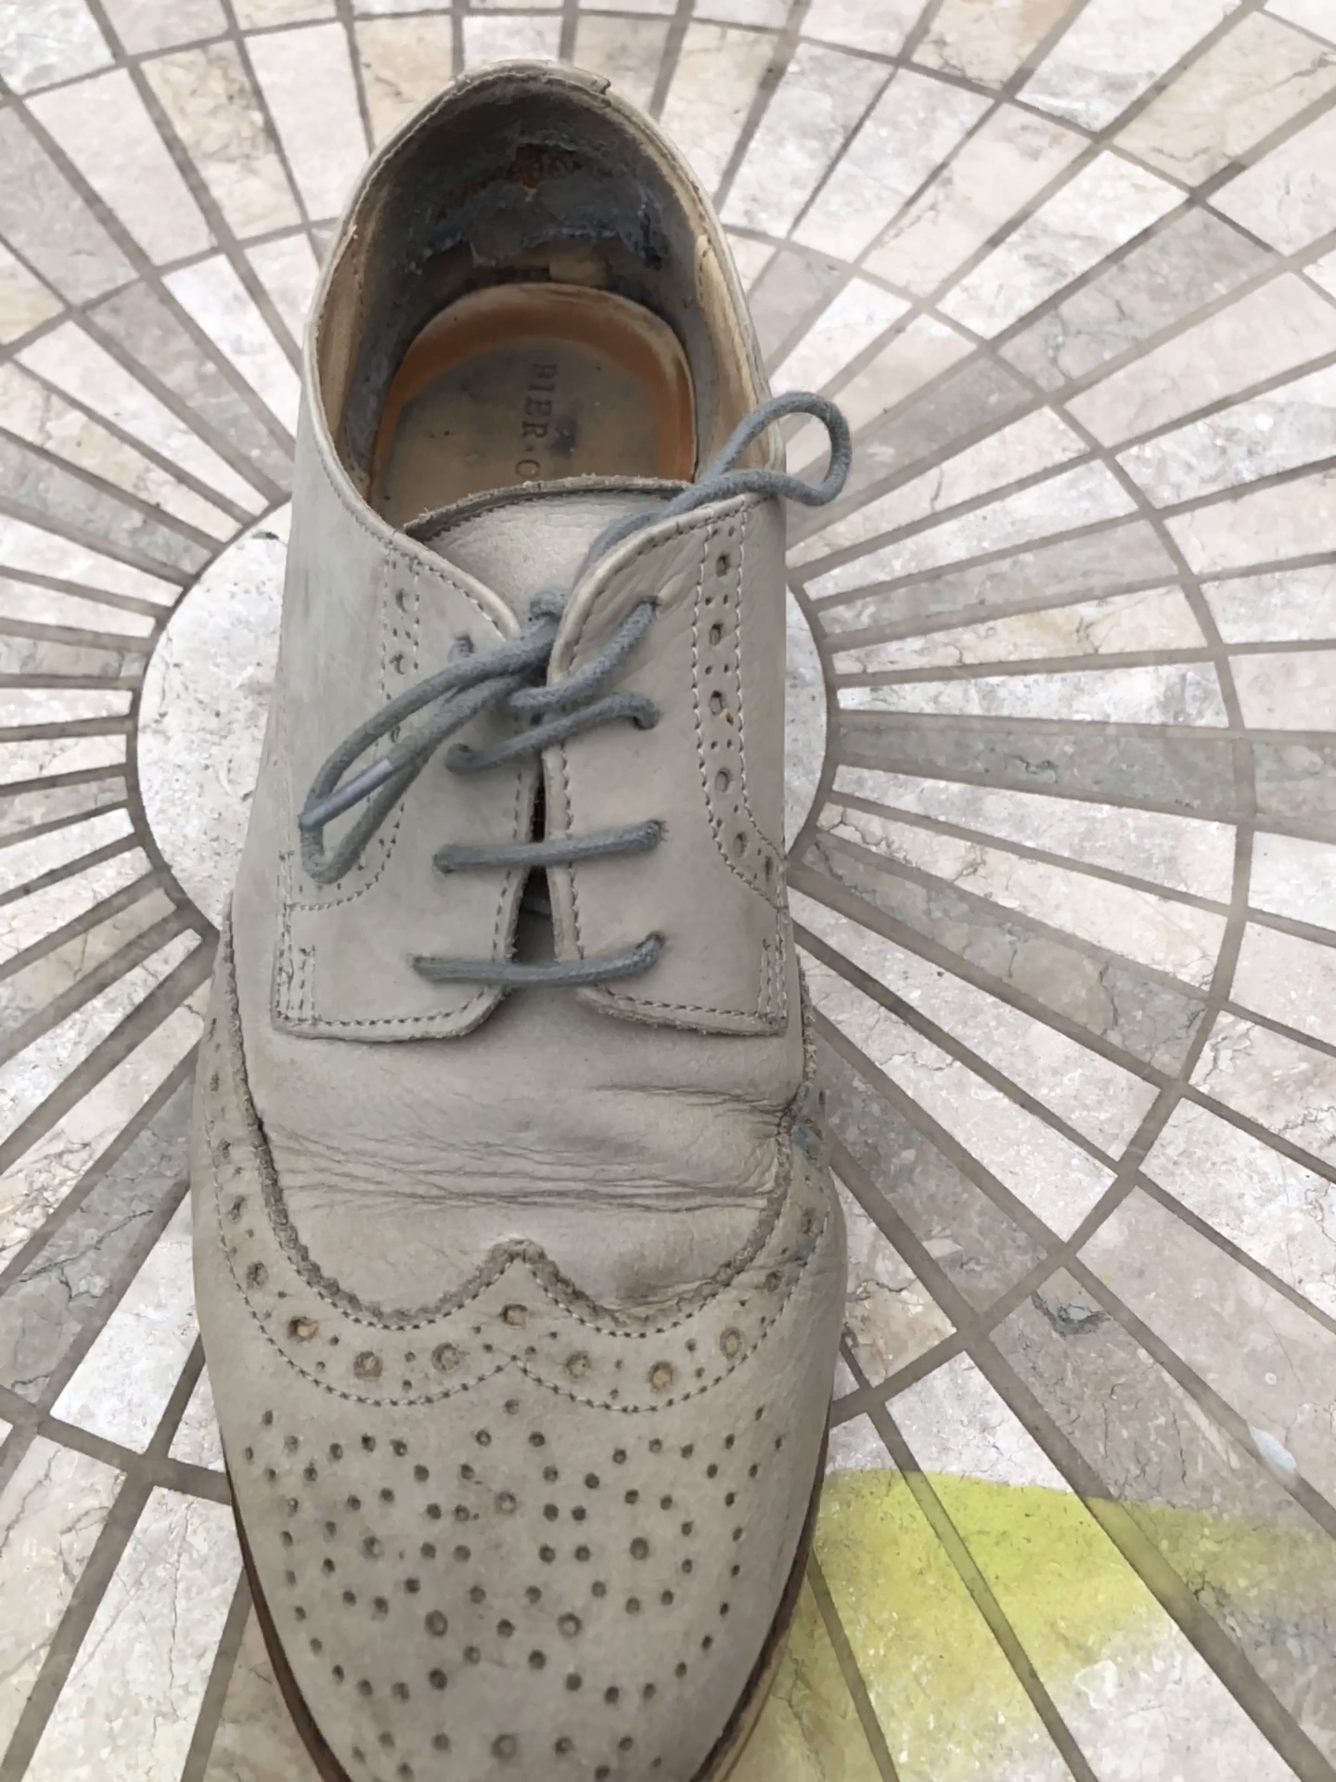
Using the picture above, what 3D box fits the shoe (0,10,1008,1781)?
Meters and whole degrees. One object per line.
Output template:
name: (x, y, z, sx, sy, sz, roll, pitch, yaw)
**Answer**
shoe: (-0.021, -0.008, 0.214, 0.090, 0.079, 0.257, -1, 63, -2)
